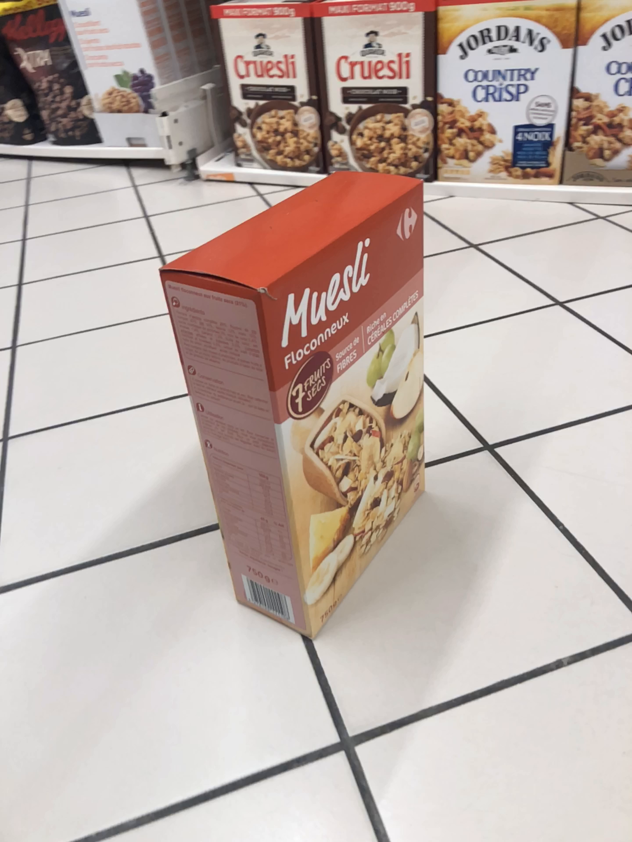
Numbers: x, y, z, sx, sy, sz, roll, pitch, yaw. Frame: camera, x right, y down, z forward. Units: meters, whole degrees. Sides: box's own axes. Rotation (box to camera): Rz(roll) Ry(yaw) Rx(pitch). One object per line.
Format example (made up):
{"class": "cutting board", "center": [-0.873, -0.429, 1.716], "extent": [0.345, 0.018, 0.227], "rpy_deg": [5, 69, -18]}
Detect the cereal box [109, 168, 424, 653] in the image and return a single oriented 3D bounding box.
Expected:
{"class": "cereal box", "center": [-0.008, -0.010, 0.434], "extent": [0.080, 0.239, 0.171], "rpy_deg": [16, 40, 30]}
